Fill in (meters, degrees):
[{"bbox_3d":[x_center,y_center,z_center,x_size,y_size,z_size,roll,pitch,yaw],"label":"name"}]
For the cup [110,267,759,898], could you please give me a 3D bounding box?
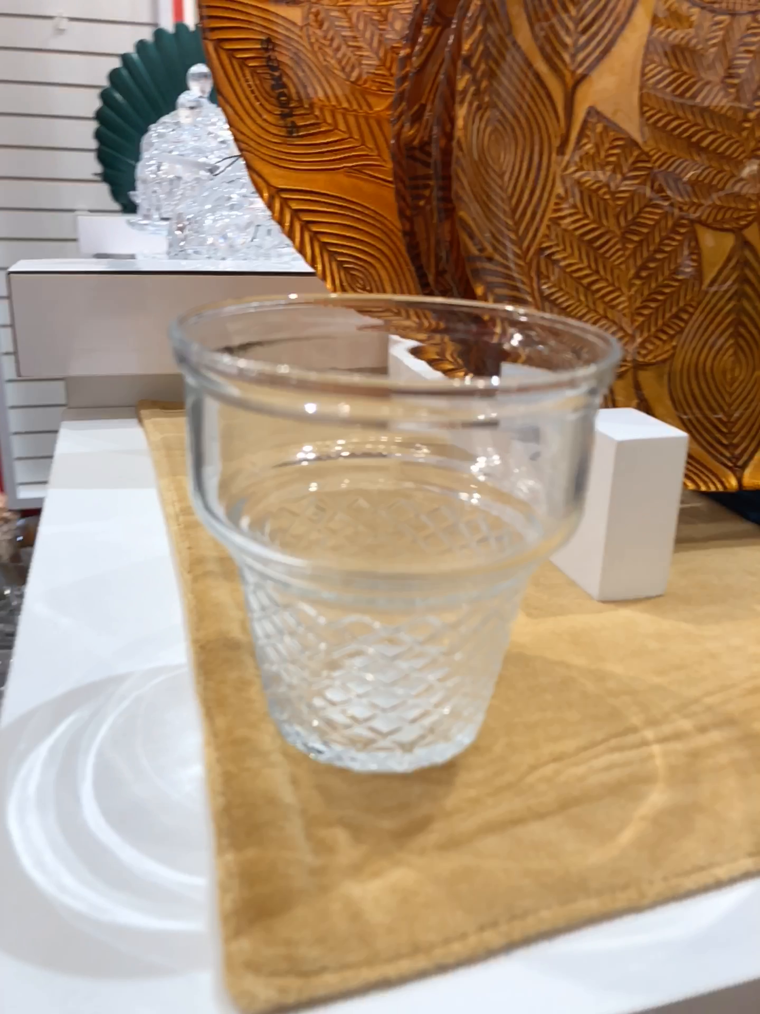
[{"bbox_3d":[0.009,-0.002,0.149,0.080,0.070,0.080,2,20,-1],"label":"cup"}]
